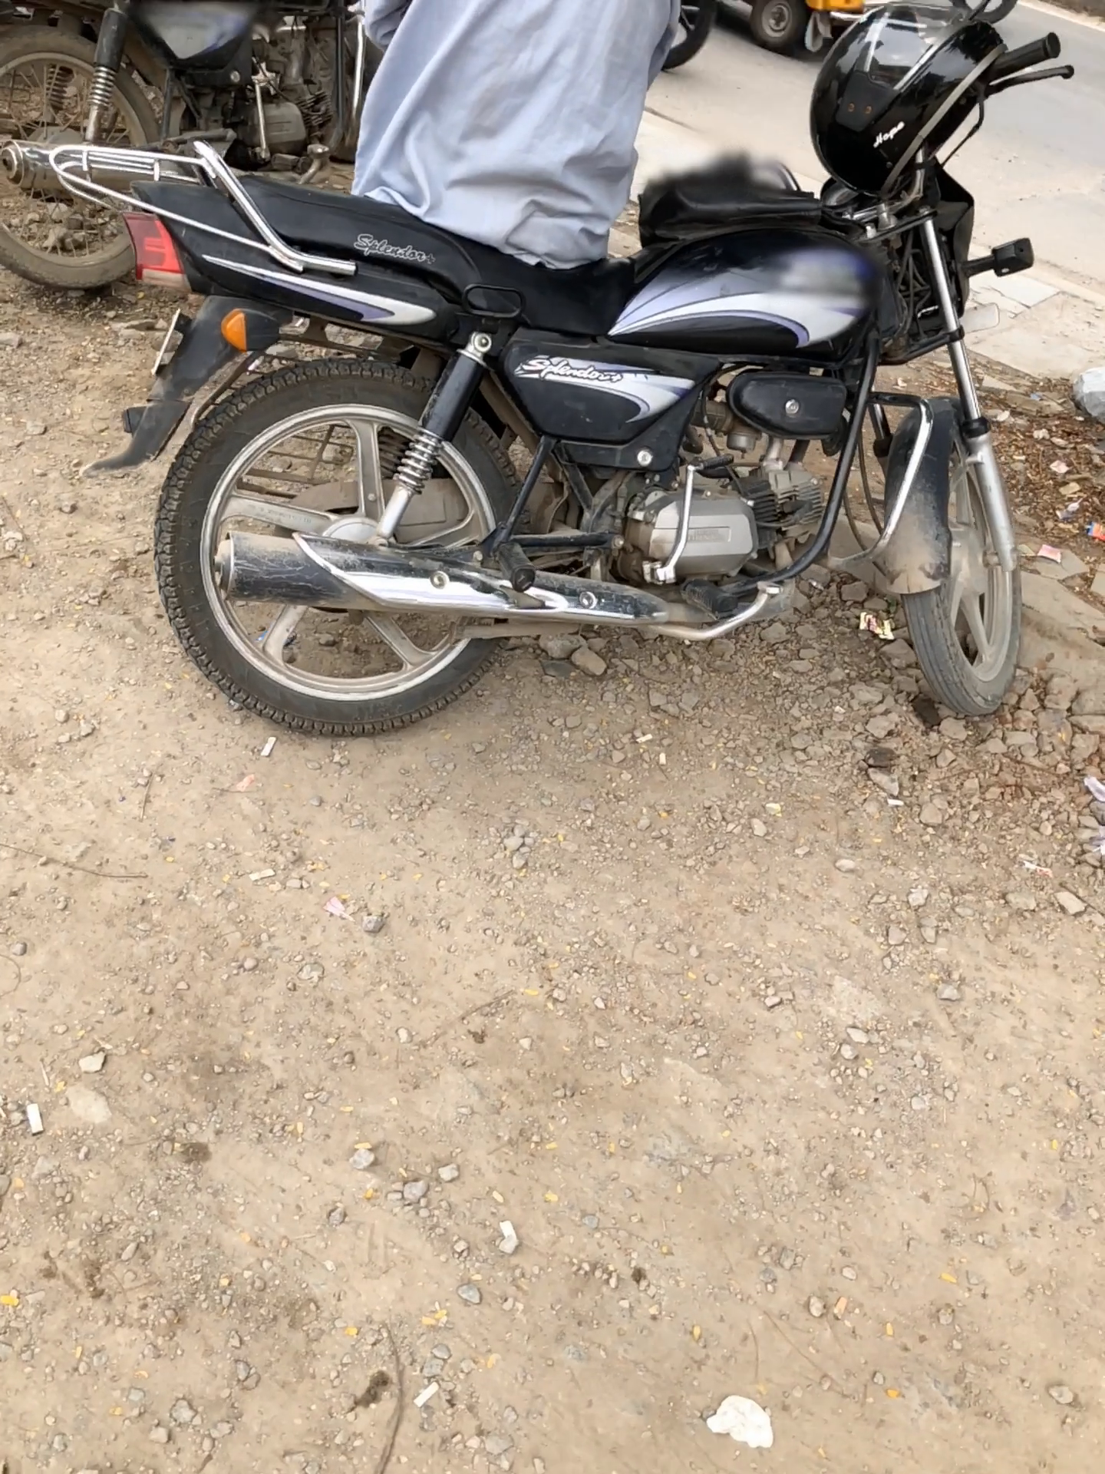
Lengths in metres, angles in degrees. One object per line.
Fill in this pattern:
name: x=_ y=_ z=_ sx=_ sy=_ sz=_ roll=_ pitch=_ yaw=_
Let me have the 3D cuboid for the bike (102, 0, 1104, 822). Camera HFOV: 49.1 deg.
bike: x=0.138 y=-0.656 z=2.044 sx=1.598 sy=1.170 sz=0.742 roll=-7 pitch=43 yaw=-23
